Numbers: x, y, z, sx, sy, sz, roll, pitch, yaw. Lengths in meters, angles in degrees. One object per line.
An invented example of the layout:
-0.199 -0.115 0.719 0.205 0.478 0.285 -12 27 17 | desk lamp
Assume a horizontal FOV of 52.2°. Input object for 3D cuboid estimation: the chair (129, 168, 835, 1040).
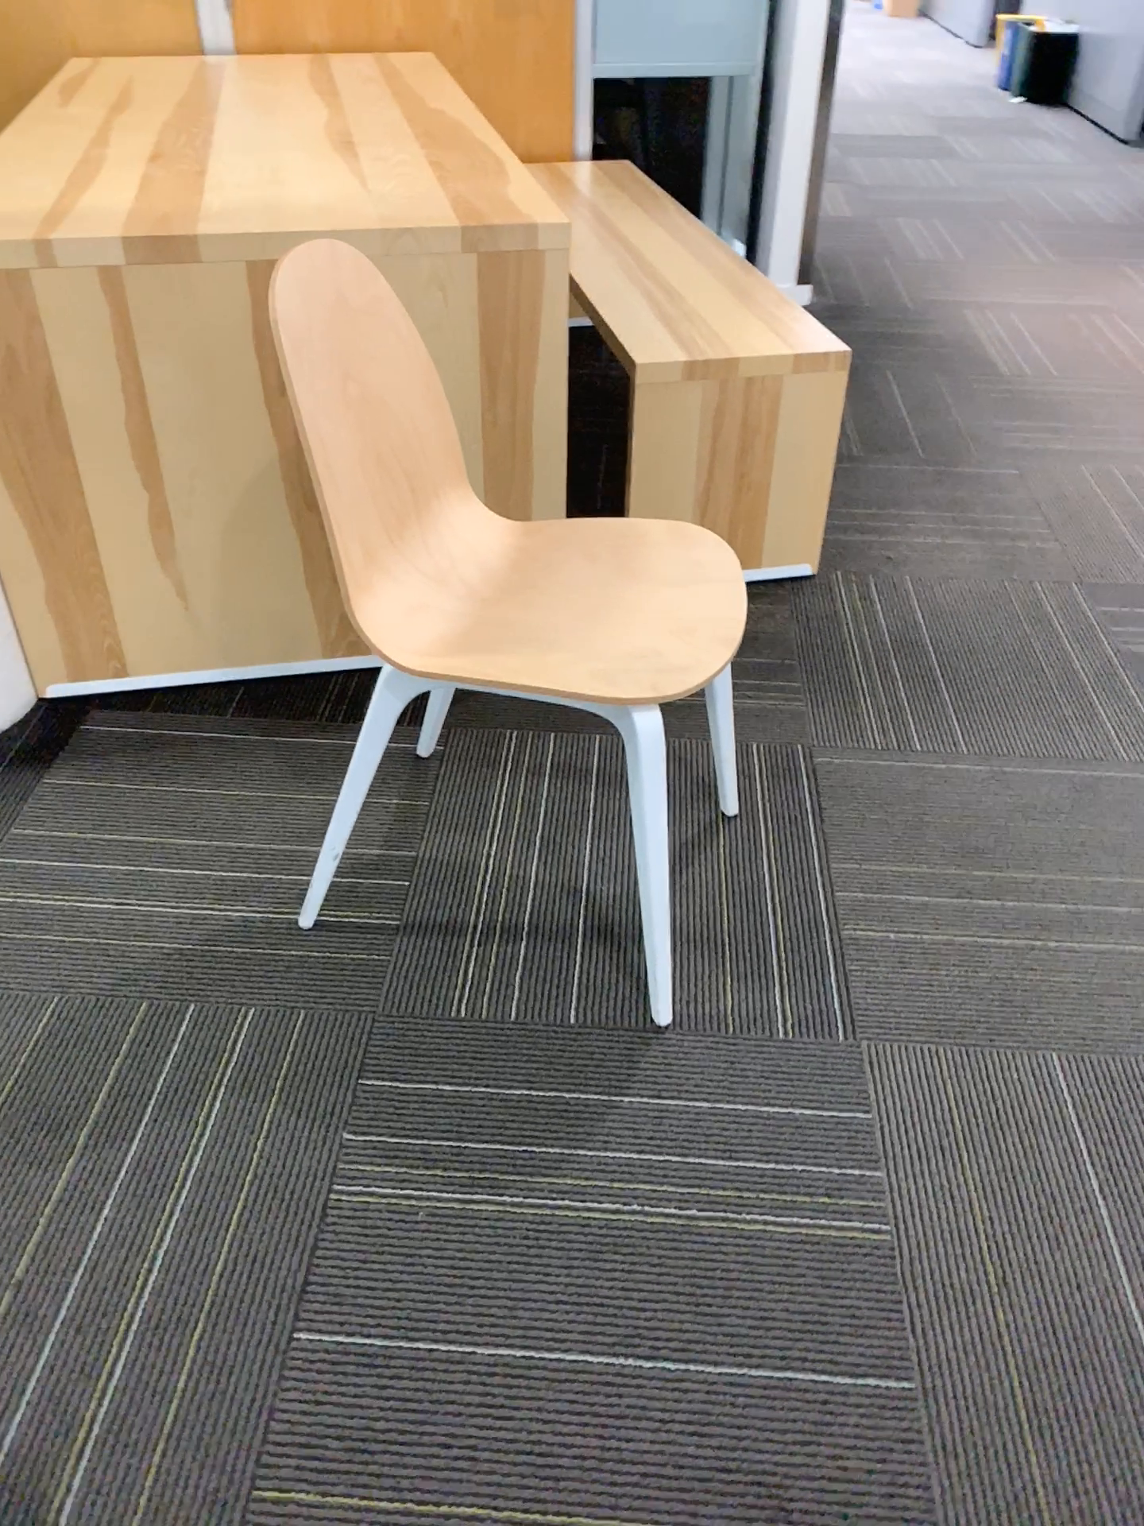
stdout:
-0.051 -0.202 1.426 0.561 0.815 0.553 10 39 12 | chair
